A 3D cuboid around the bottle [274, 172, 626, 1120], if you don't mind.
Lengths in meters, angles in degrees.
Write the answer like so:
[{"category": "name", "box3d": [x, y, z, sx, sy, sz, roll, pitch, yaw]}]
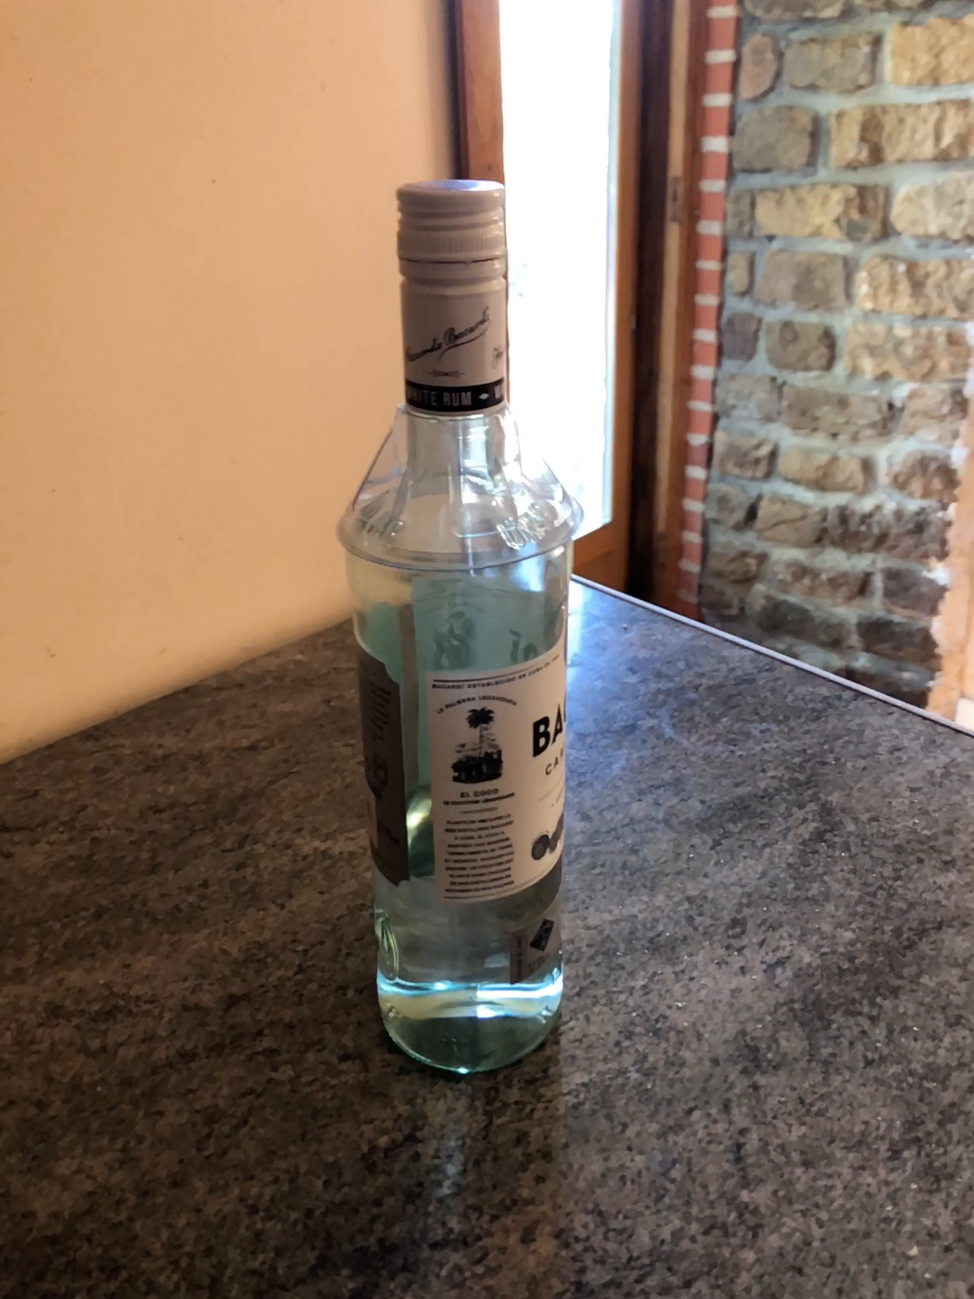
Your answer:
[{"category": "bottle", "box3d": [-0.009, 0.008, 0.355, 0.080, 0.298, 0.080, -2, 26, 1]}]
